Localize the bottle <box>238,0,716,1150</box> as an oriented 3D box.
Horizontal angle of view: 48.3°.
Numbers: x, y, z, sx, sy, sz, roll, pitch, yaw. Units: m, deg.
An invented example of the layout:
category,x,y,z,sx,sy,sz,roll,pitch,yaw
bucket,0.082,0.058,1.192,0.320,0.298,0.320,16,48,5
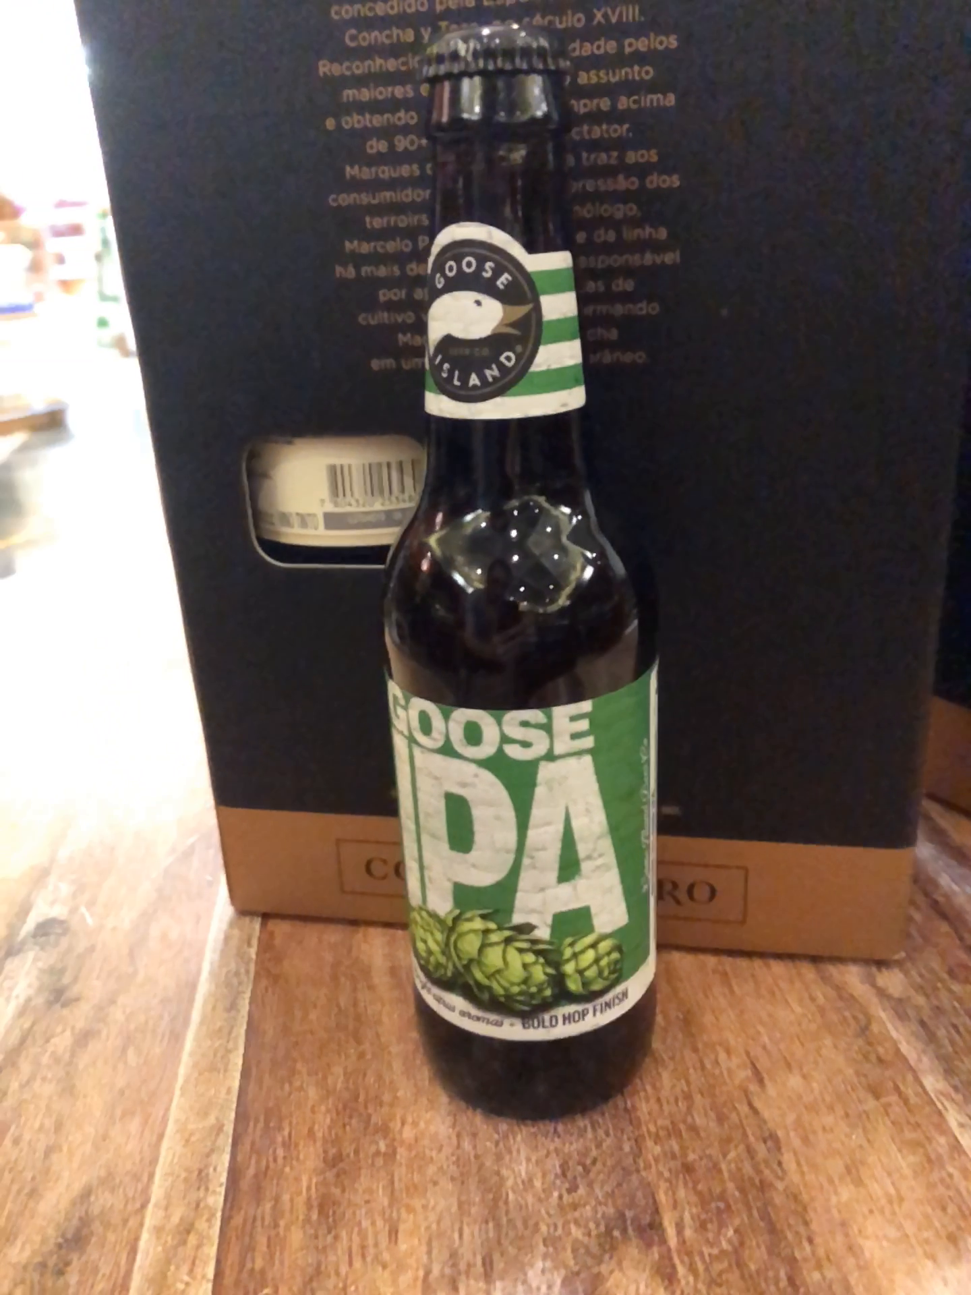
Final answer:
category,x,y,z,sx,sy,sz,roll,pitch,yaw
bottle,0.009,-0.010,0.229,0.070,0.228,0.060,2,22,15
